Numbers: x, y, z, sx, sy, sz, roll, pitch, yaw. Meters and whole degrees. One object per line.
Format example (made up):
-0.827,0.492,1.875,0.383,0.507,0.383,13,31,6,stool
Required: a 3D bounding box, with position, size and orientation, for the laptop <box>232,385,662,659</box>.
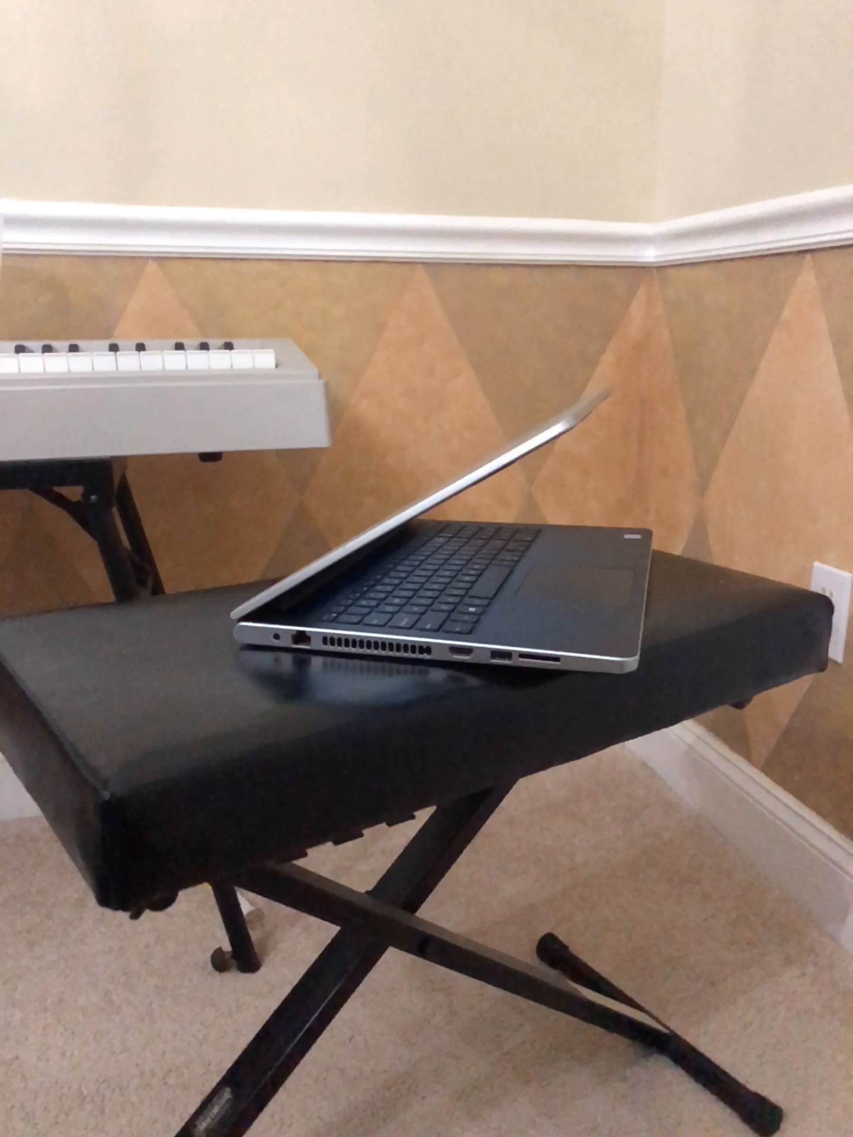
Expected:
0.051,-0.065,0.754,0.255,0.132,0.377,5,15,13,laptop
